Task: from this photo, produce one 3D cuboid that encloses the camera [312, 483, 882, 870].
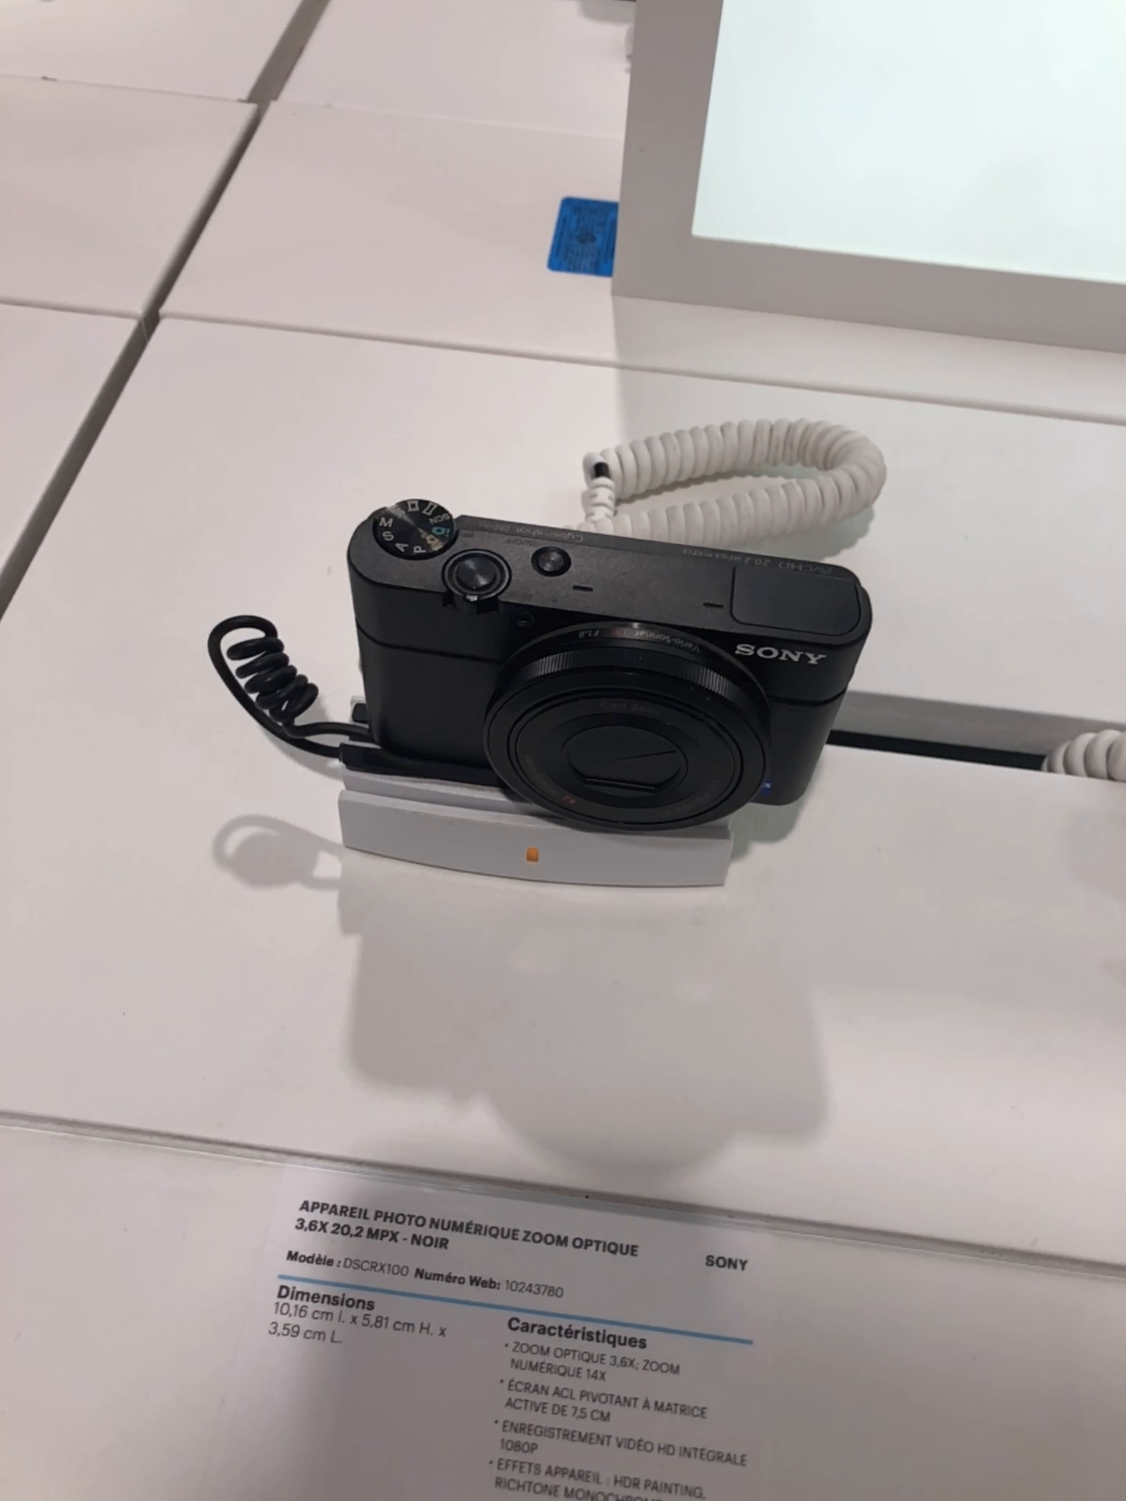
[{"bbox_3d":[0.007,-0.014,0.251,0.100,0.056,0.036,8,52,3],"label":"camera"}]
